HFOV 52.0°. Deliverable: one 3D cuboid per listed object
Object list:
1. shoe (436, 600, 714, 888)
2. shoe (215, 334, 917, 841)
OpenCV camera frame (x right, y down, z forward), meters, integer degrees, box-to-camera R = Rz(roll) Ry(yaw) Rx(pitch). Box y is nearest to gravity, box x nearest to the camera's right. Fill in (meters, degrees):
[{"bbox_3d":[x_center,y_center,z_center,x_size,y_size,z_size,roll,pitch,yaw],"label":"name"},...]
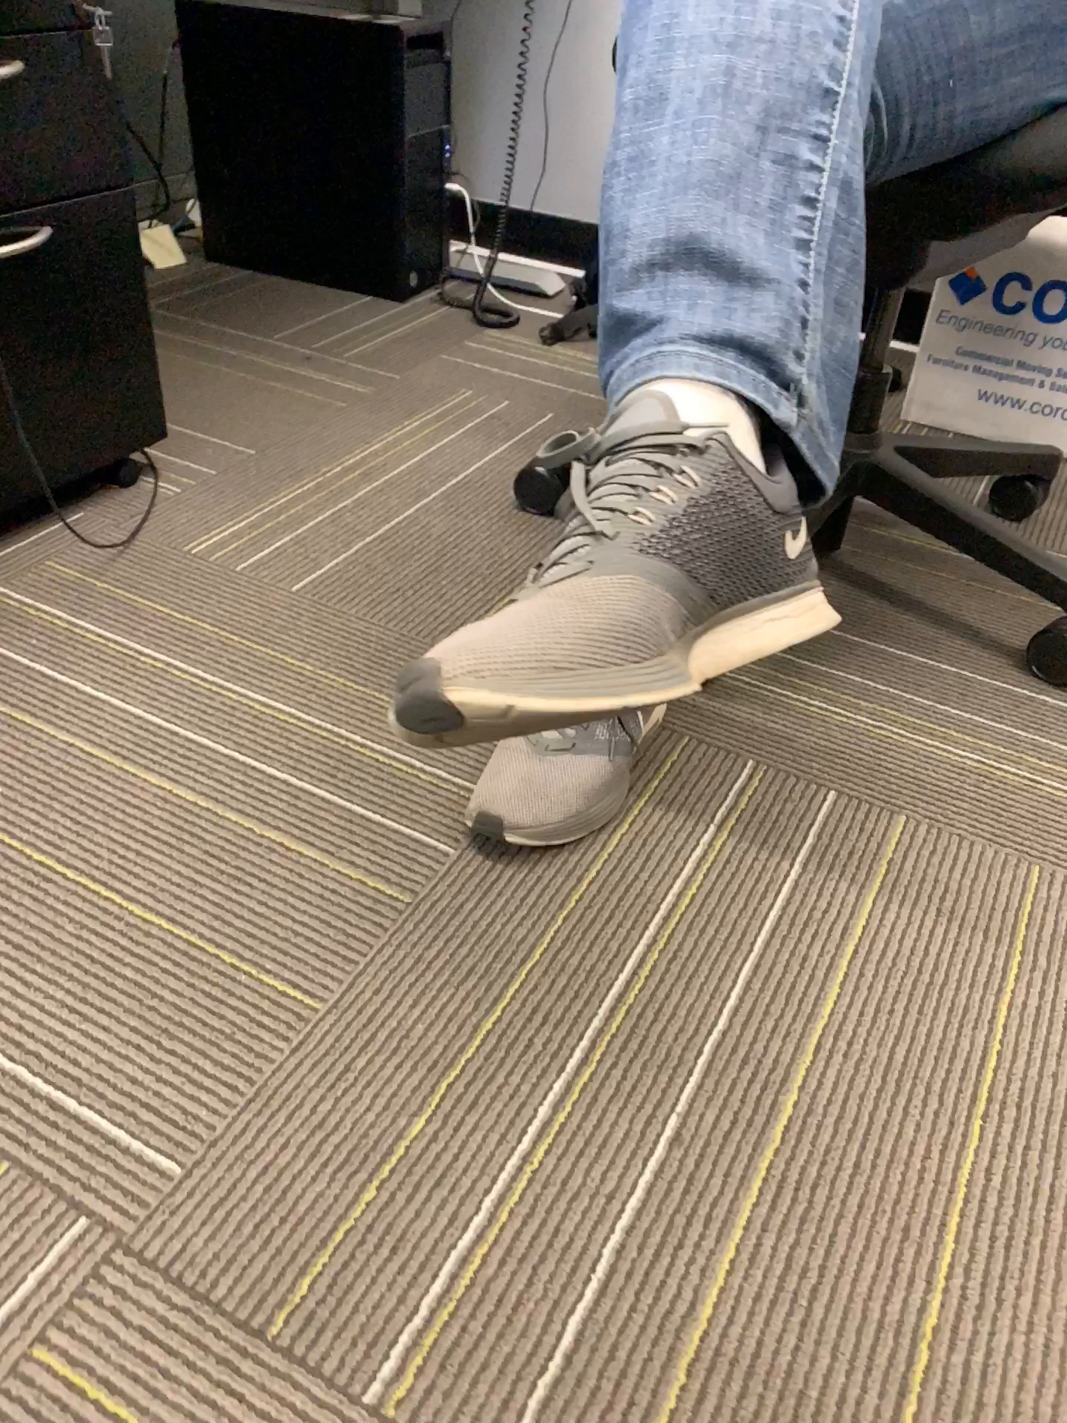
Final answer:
[{"bbox_3d":[0.042,0.016,0.945,0.120,0.085,0.270,22,40,21],"label":"shoe"},{"bbox_3d":[0.034,-0.070,0.506,0.296,0.143,0.122,-24,3,-43],"label":"shoe"}]
